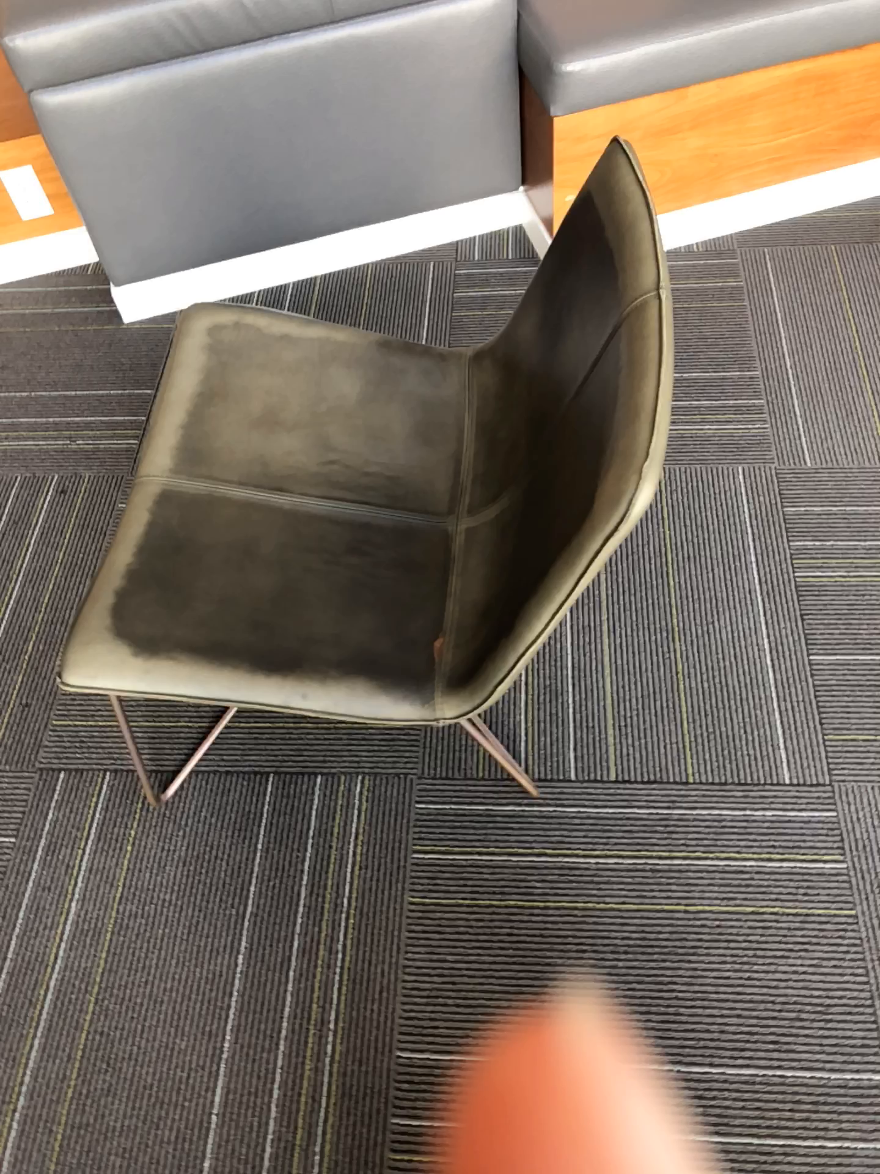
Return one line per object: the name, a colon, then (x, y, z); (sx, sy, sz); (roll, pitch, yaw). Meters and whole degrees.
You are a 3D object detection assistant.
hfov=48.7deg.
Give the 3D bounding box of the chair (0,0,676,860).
chair: (-0.133, -0.139, 1.295); (0.650, 0.877, 0.672); (4, 55, 1)
